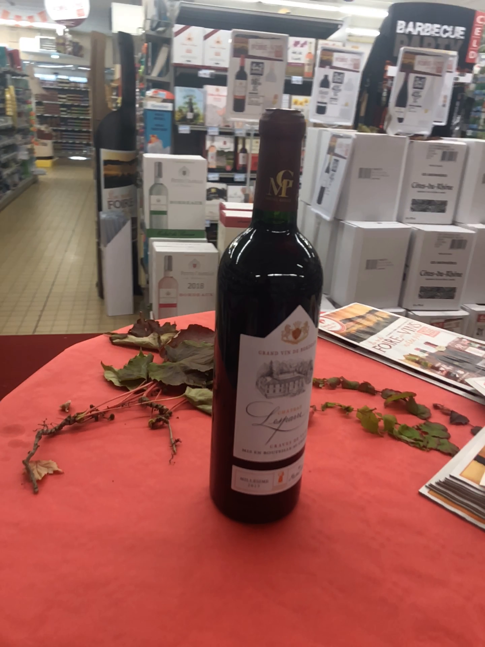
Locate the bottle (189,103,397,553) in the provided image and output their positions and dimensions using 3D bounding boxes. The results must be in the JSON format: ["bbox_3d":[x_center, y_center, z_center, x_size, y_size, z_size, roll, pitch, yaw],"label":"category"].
[{"bbox_3d":[0.023,0.005,0.385,0.090,0.299,0.090,3,20,-1],"label":"bottle"}]
